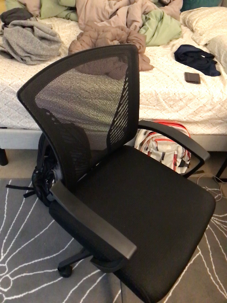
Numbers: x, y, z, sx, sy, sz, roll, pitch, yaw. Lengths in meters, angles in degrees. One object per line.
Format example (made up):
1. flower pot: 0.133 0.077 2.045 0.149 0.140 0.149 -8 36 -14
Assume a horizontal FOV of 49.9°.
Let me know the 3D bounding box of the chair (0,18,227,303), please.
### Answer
1. chair: 0.057 0.107 0.883 0.581 0.834 0.624 35 52 29
